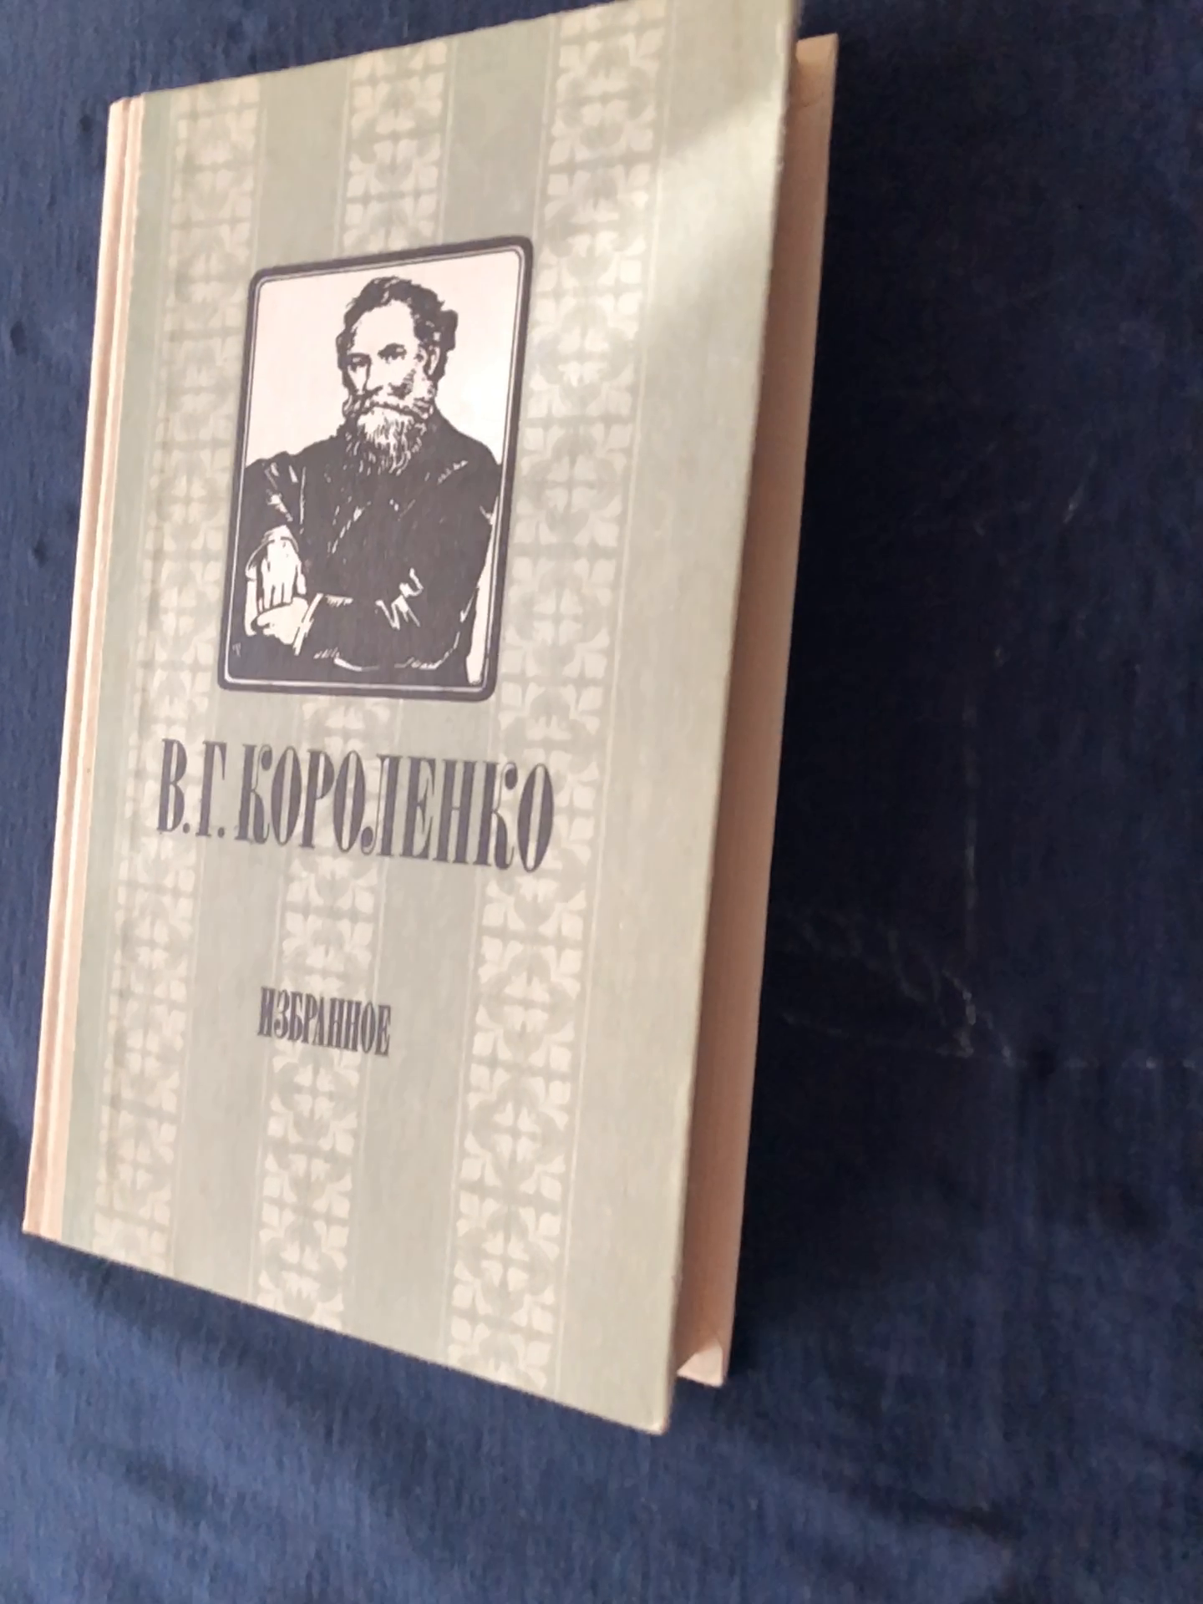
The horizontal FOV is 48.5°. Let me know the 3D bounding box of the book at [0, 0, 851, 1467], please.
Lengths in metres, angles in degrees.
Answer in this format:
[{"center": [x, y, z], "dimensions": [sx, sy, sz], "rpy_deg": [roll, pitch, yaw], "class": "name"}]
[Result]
[{"center": [-0.037, -0.020, 0.220], "dimensions": [0.132, 0.030, 0.210], "rpy_deg": [5, 90, 25], "class": "book"}]
